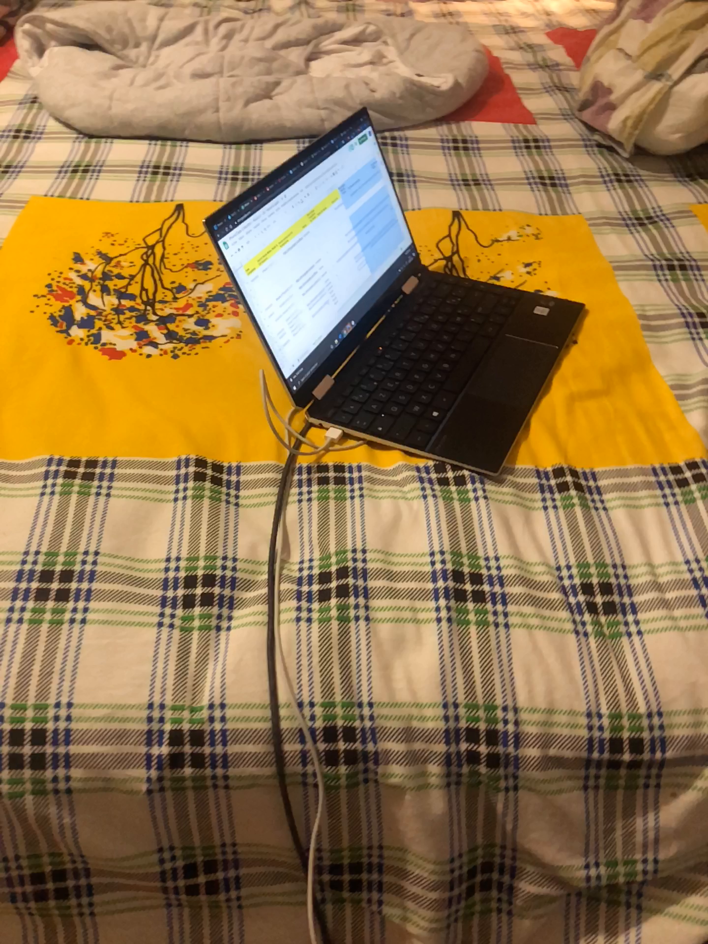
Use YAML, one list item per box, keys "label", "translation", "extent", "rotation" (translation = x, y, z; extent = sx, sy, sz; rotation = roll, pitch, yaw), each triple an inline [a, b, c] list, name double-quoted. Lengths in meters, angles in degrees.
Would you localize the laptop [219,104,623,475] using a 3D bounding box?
- label: "laptop"
  translation: [0.067, -0.183, 0.703]
  extent: [0.253, 0.158, 0.275]
  rotation: [20, 49, 20]
